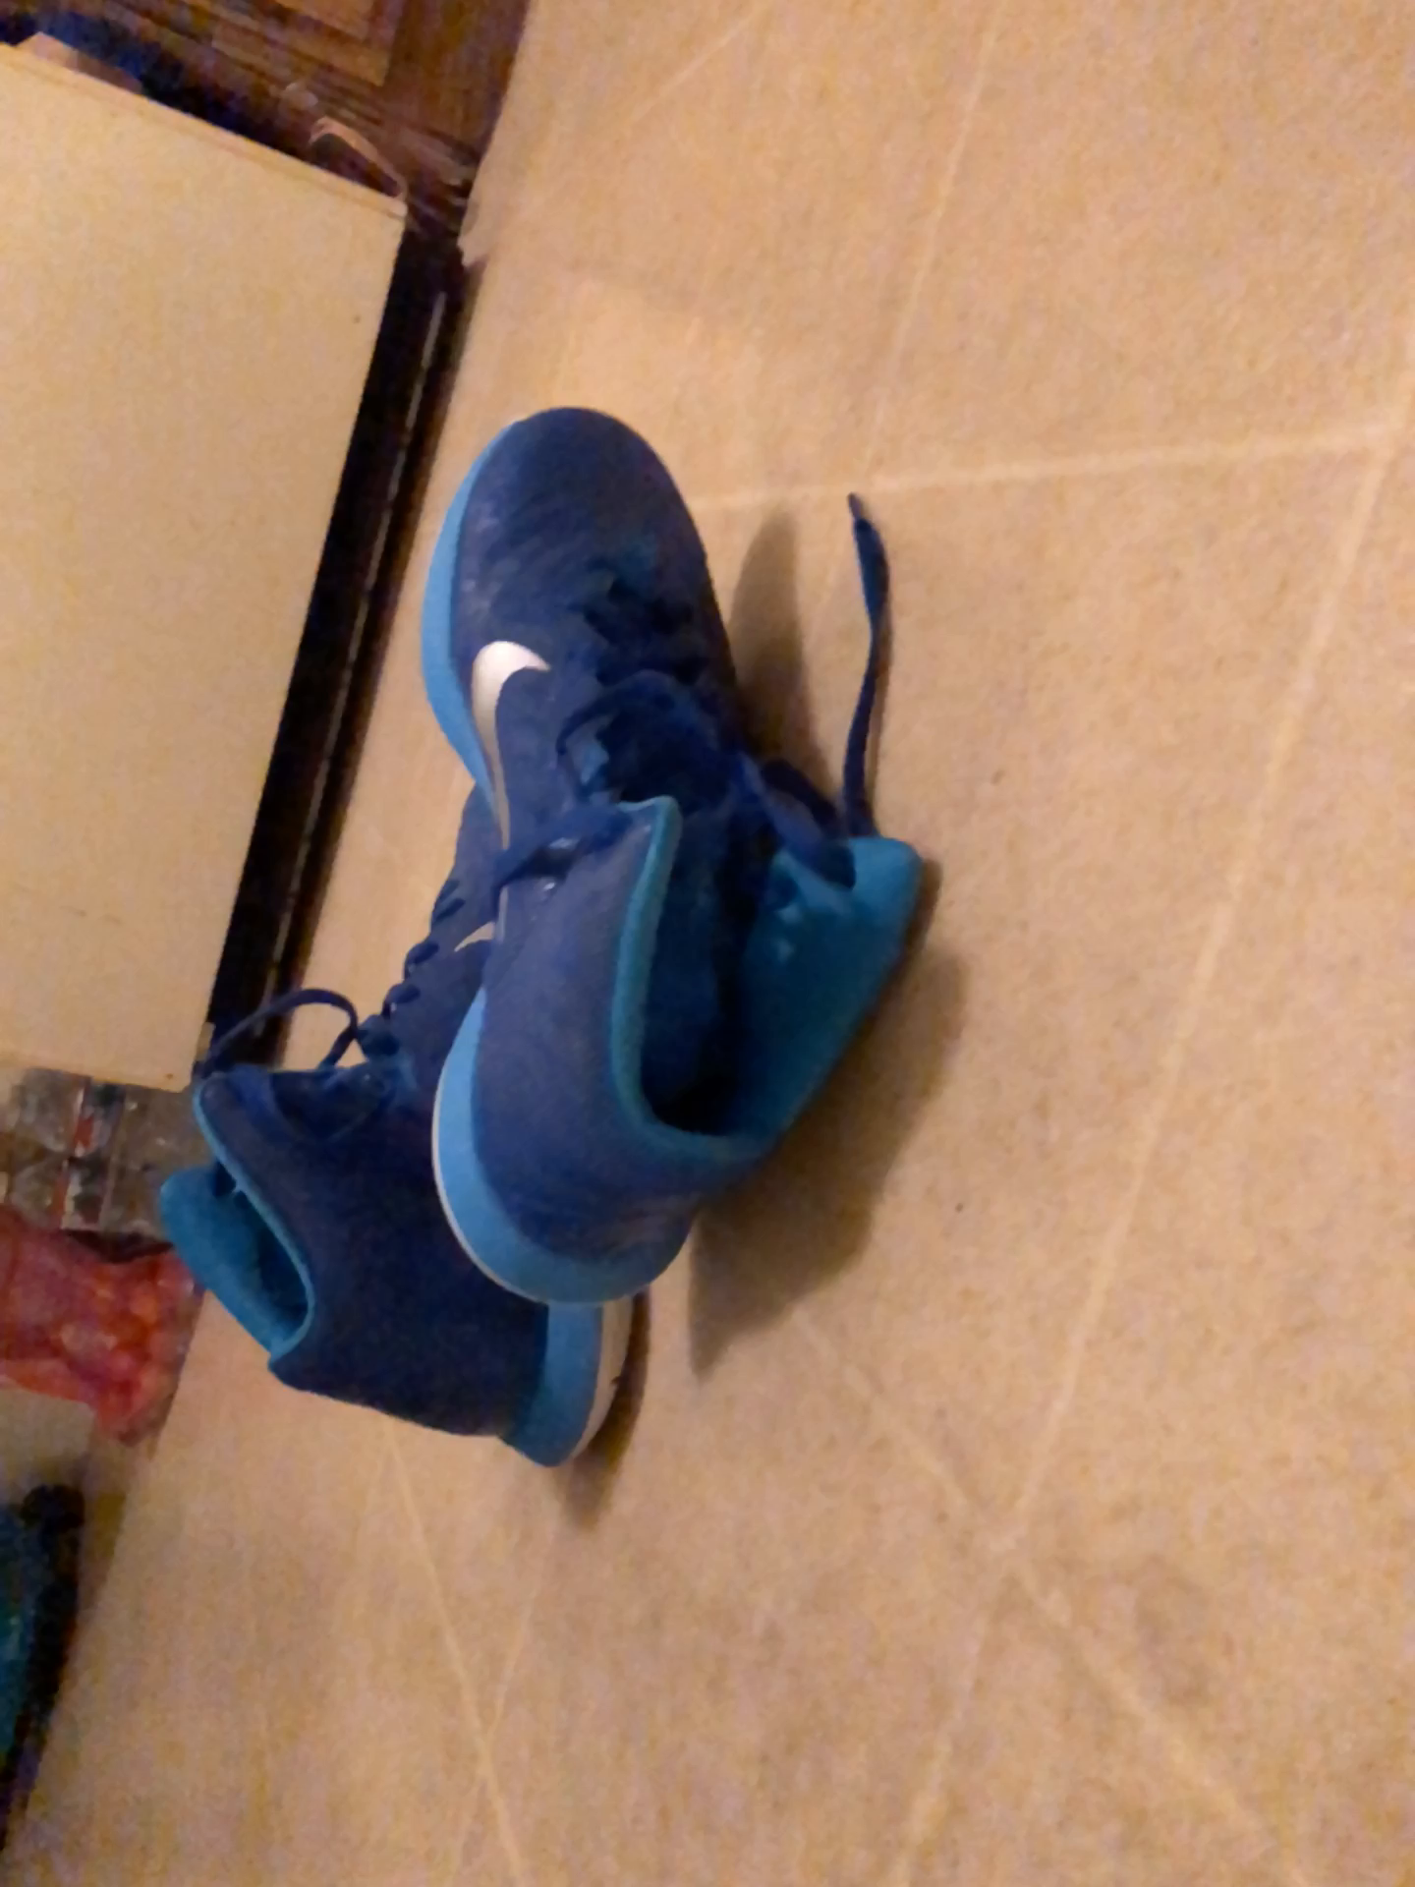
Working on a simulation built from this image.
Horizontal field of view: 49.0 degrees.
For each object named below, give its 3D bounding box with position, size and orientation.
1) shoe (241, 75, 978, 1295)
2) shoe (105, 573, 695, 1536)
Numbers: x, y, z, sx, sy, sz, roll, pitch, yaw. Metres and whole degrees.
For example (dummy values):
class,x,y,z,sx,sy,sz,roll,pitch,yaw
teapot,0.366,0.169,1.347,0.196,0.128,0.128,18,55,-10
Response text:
class,x,y,z,sx,sy,sz,roll,pitch,yaw
shoe,-0.030,-0.065,0.444,0.160,0.119,0.282,-37,44,50
shoe,-0.107,0.031,0.560,0.120,0.144,0.311,126,149,-43
